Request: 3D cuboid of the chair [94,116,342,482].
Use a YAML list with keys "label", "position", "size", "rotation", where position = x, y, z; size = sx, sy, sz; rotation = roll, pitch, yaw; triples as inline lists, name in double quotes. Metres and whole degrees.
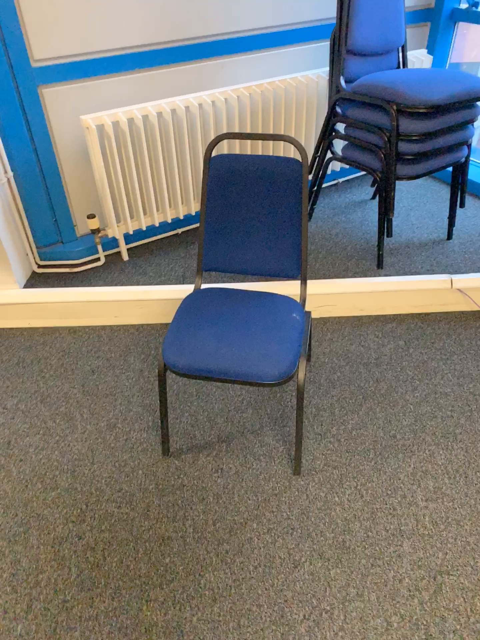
- label: "chair"
  position: [0.004, -0.057, 1.422]
  size: [0.472, 0.842, 0.579]
  rotation: [6, 40, 9]
